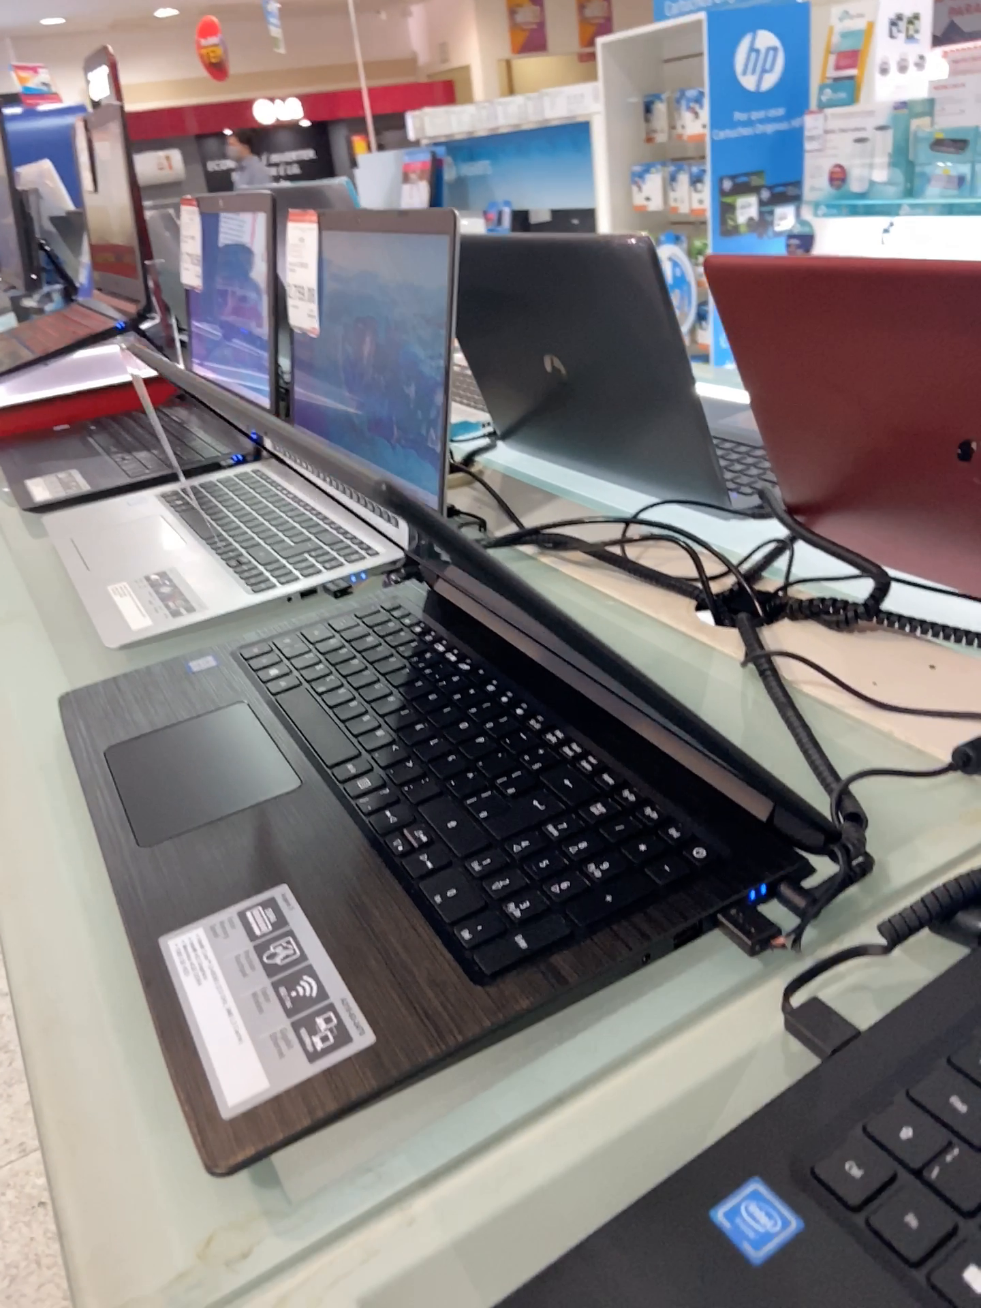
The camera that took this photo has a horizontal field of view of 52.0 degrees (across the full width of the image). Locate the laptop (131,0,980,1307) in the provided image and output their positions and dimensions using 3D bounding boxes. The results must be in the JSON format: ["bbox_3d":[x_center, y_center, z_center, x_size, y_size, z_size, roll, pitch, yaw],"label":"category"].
[{"bbox_3d":[0.207,0.082,0.090,0.285,0.246,0.432,-23,30,-26],"label":"laptop"}]

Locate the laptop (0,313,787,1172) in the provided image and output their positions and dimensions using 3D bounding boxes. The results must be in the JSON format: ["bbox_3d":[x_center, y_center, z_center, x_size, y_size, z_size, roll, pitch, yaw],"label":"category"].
[{"bbox_3d":[-0.083,-0.026,0.465,0.234,0.186,0.375,-19,28,-21],"label":"laptop"}]

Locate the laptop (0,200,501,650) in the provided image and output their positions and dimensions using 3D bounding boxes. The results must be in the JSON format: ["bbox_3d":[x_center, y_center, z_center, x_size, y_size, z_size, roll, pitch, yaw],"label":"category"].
[{"bbox_3d":[-0.230,-0.220,0.840,0.302,0.233,0.397,-19,28,-21],"label":"laptop"}]
